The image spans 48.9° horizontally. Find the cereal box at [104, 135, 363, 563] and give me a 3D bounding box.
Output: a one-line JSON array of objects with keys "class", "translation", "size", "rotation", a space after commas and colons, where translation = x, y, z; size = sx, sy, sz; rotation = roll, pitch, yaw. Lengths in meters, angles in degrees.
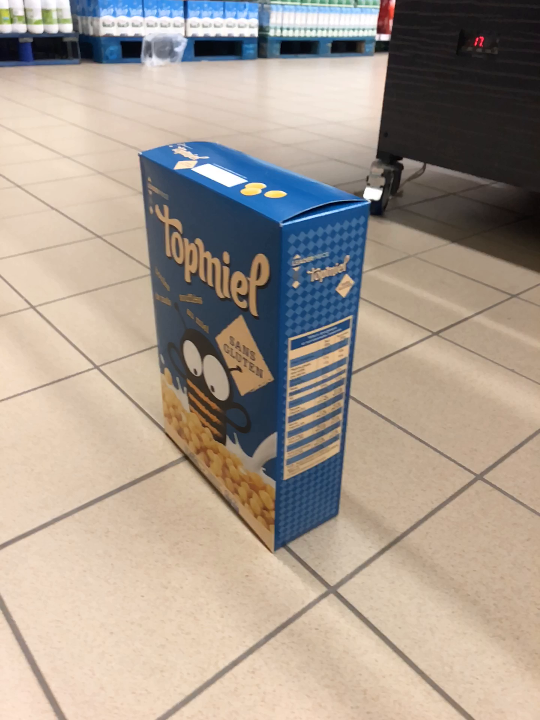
[{"class": "cereal box", "translation": [-0.040, -0.016, 0.483], "size": [0.080, 0.278, 0.200], "rotation": [-20, 37, -33]}]
